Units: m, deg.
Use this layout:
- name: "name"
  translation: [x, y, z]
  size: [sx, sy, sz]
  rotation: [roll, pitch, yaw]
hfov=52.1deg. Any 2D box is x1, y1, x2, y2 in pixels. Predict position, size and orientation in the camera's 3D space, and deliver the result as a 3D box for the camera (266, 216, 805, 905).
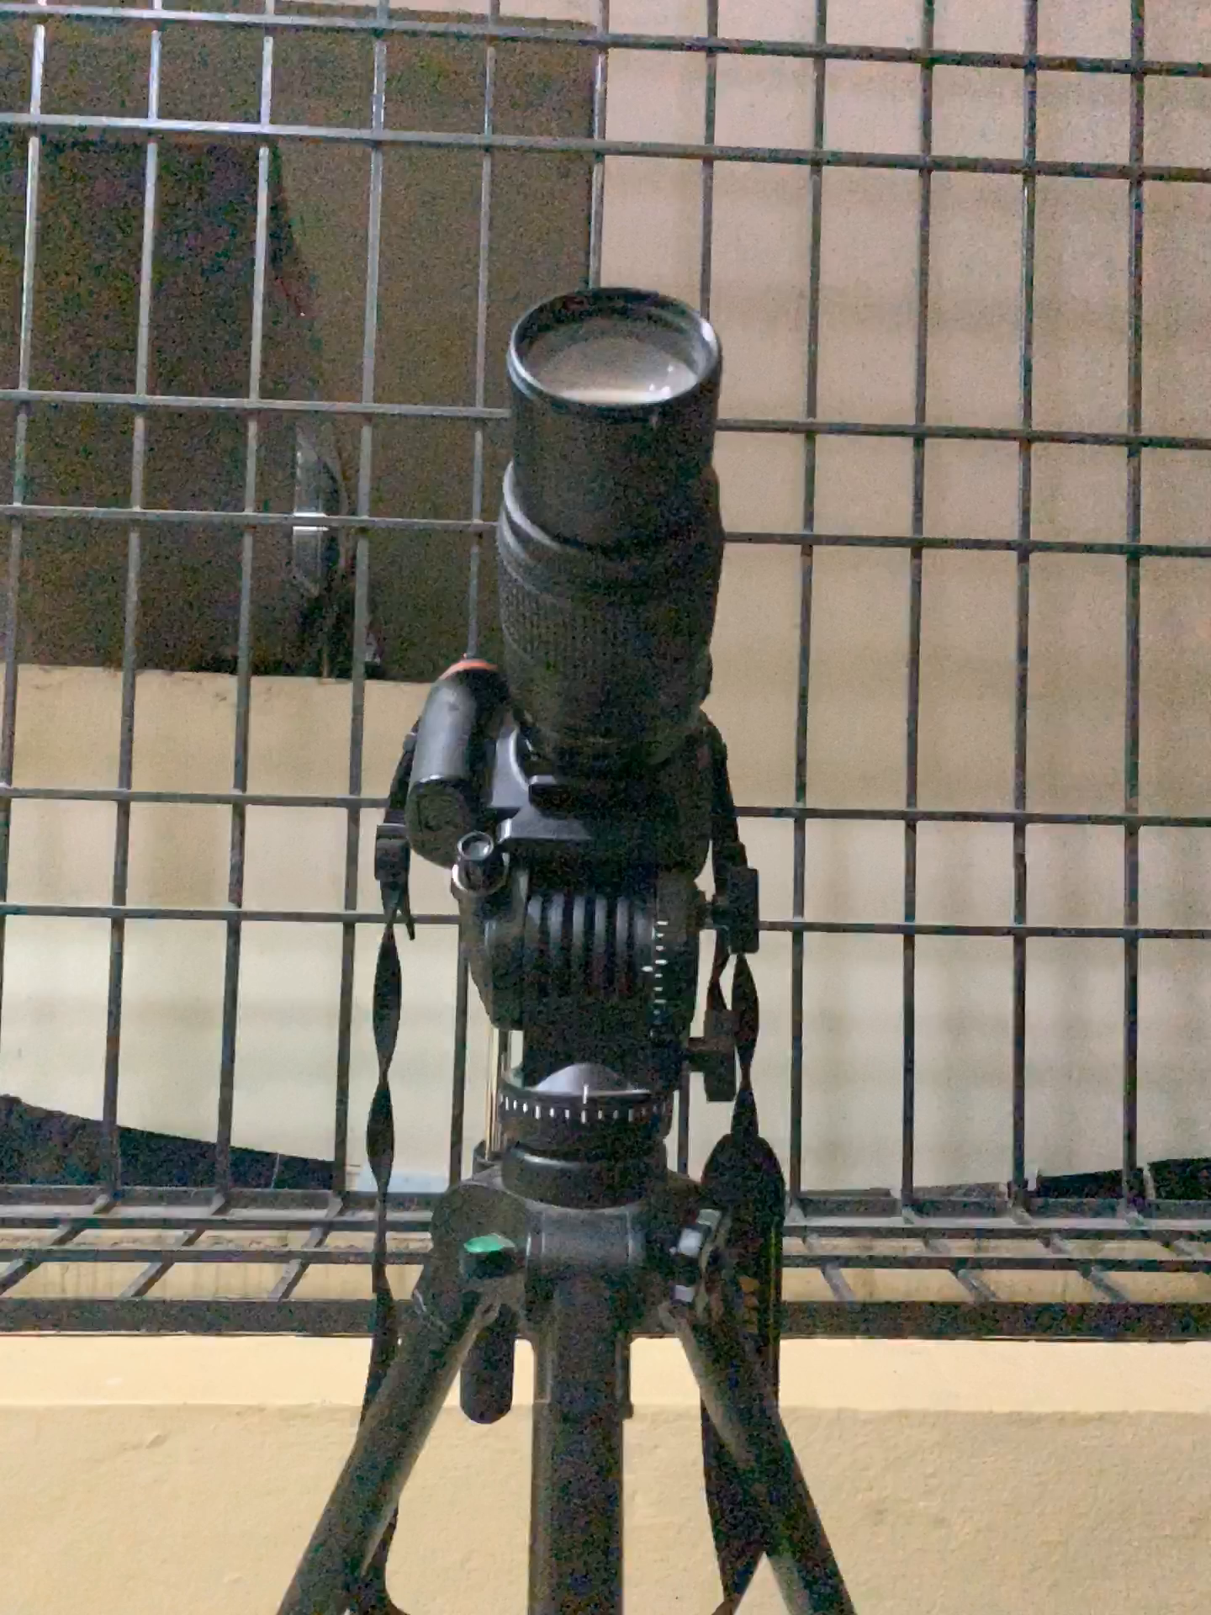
- name: "camera"
  translation: [-0.017, -0.072, 0.423]
  size: [0.136, 0.101, 0.209]
  rotation: [2, -42, 1]
